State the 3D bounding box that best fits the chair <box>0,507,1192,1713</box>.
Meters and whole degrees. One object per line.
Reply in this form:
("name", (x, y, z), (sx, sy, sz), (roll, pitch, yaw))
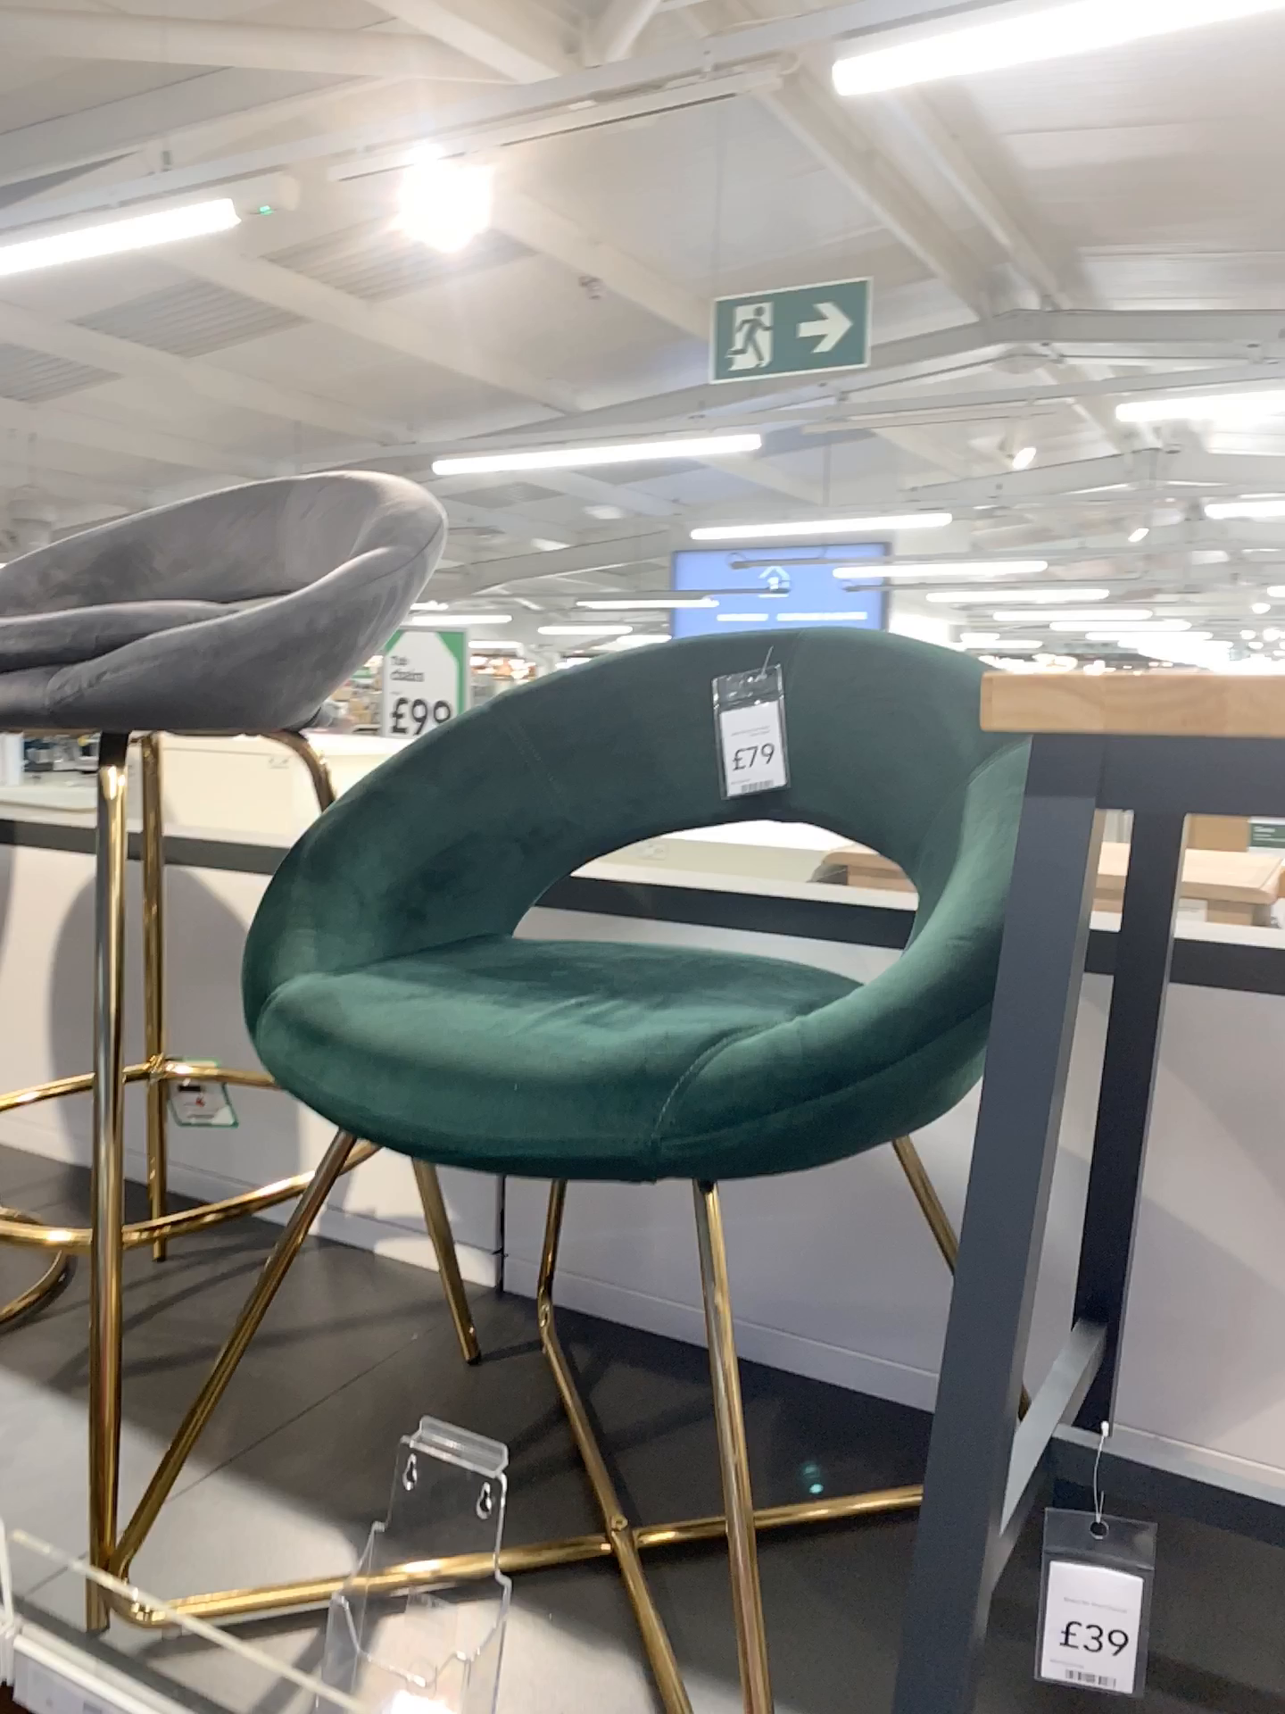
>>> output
("chair", (0.005, 0.153, 1.000), (0.634, 0.699, 0.670), (5, 7, 31))
